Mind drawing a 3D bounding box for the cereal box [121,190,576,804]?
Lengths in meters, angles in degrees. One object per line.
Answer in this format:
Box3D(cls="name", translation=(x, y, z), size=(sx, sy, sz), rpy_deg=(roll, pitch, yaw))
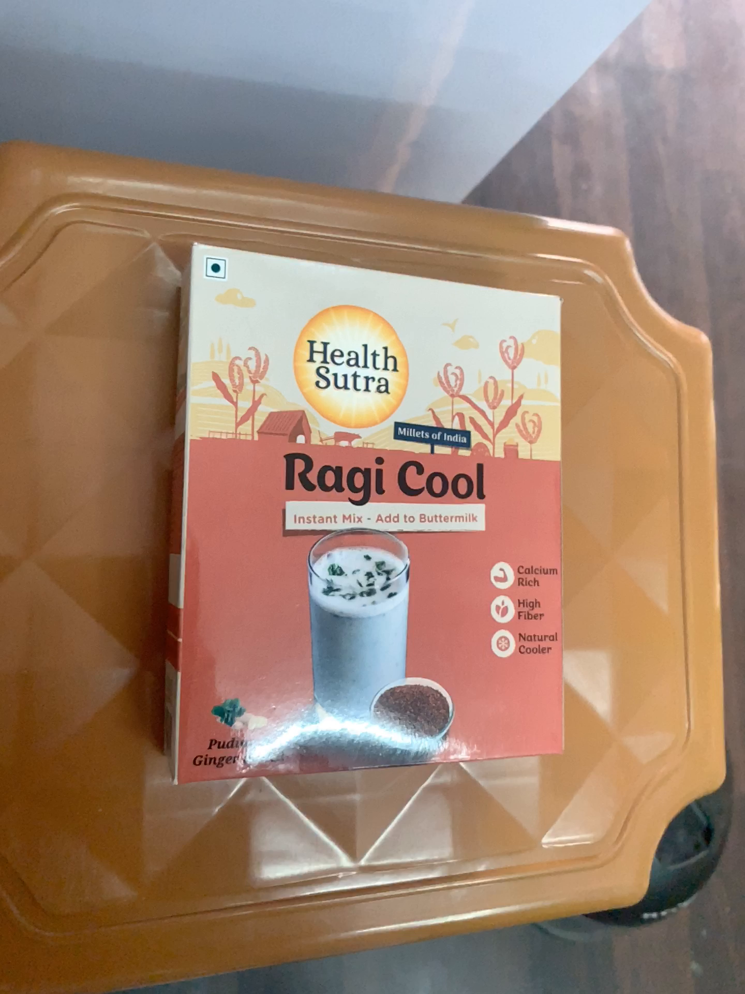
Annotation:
Box3D(cls="cereal box", translation=(-0.006, 0.001, 0.254), size=(0.140, 0.040, 0.170), rpy_deg=(2, 86, -18))
